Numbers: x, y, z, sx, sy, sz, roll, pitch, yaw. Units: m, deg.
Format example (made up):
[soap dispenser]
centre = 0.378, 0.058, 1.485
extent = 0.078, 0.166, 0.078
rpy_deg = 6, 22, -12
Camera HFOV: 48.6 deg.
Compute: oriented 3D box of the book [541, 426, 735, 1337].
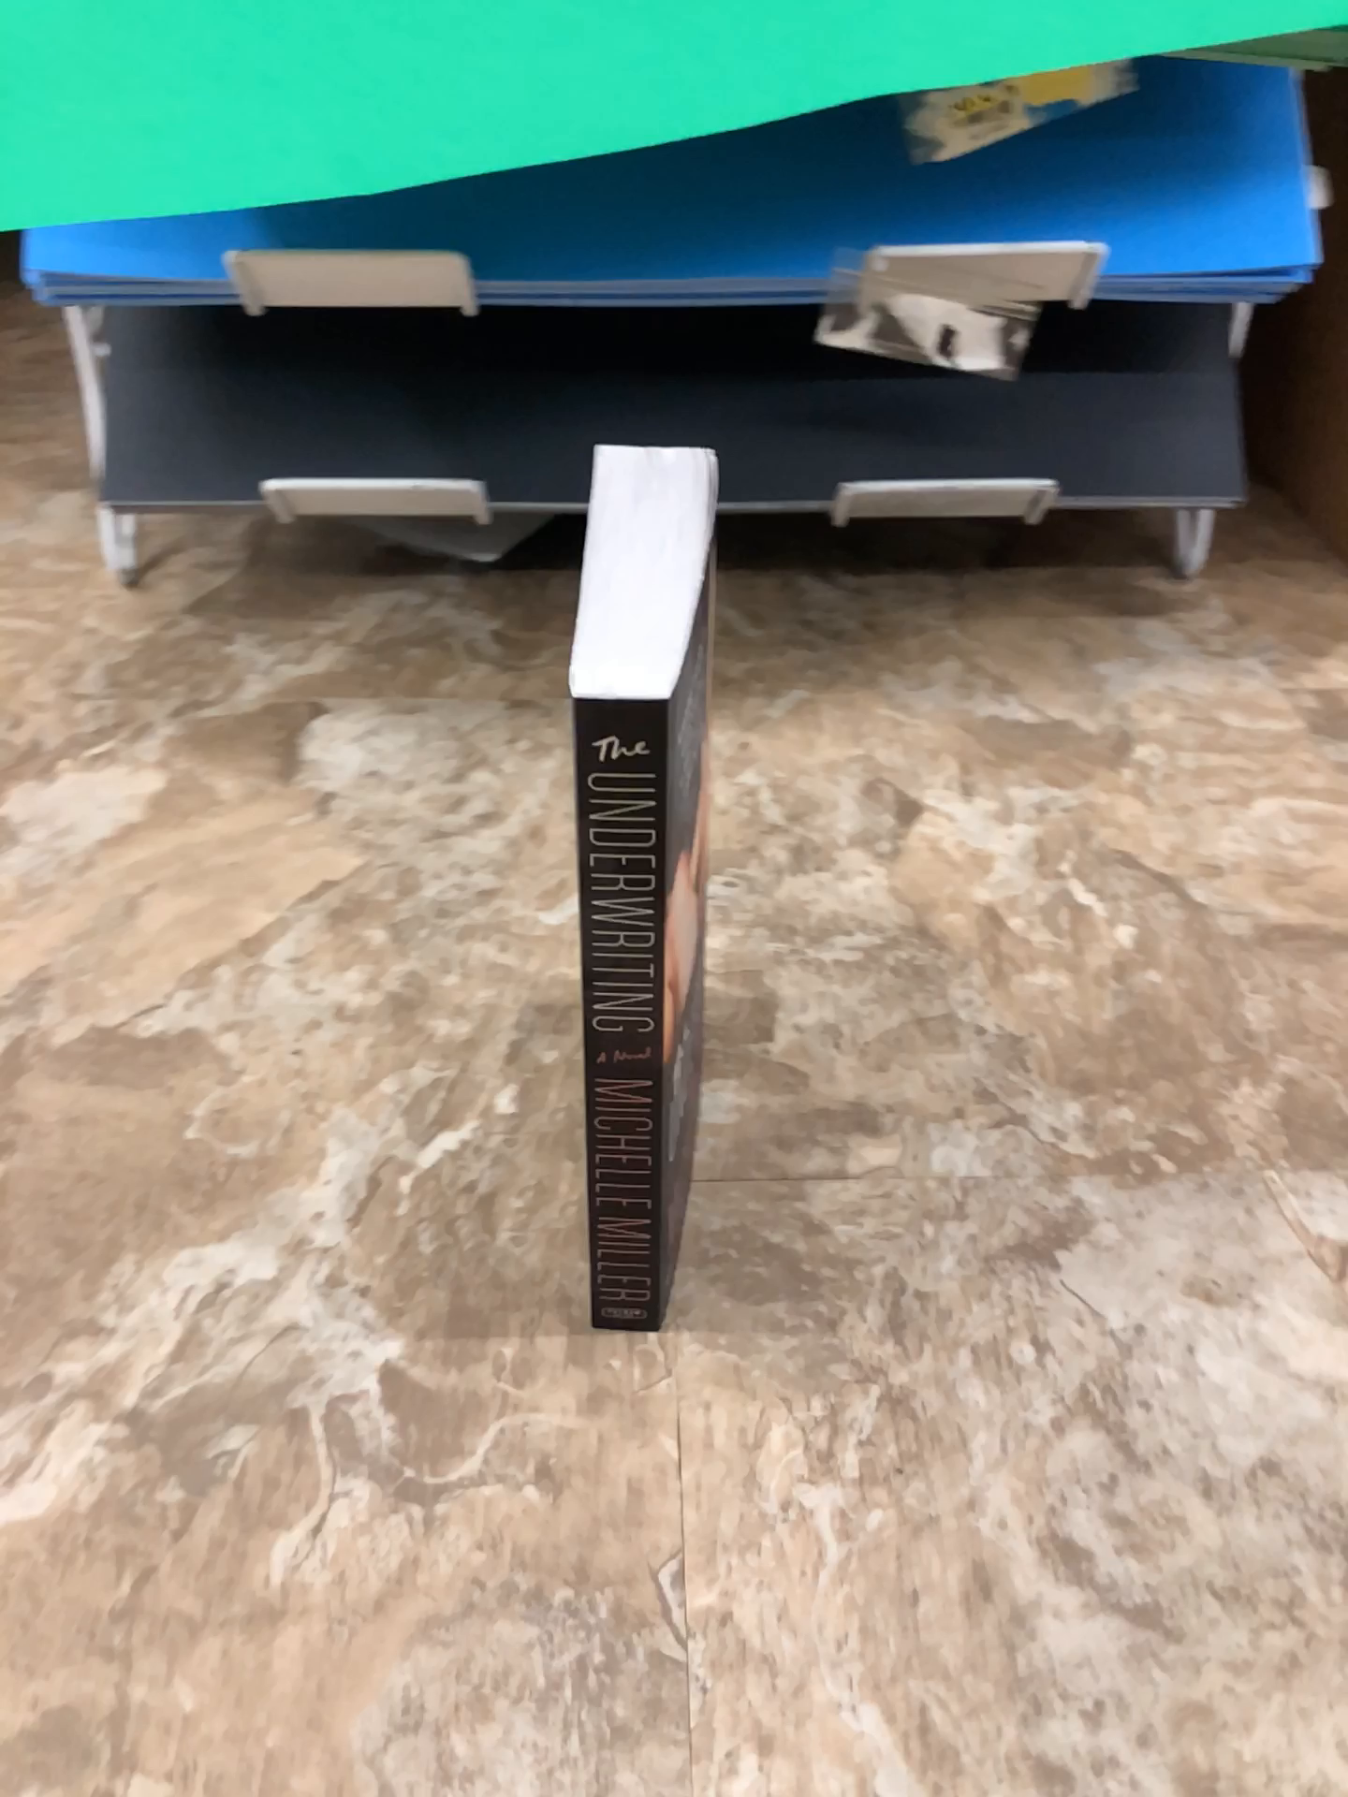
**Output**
[book]
centre = -0.005, -0.003, 0.406
extent = 0.035, 0.203, 0.141
rpy_deg = 2, 37, 2
